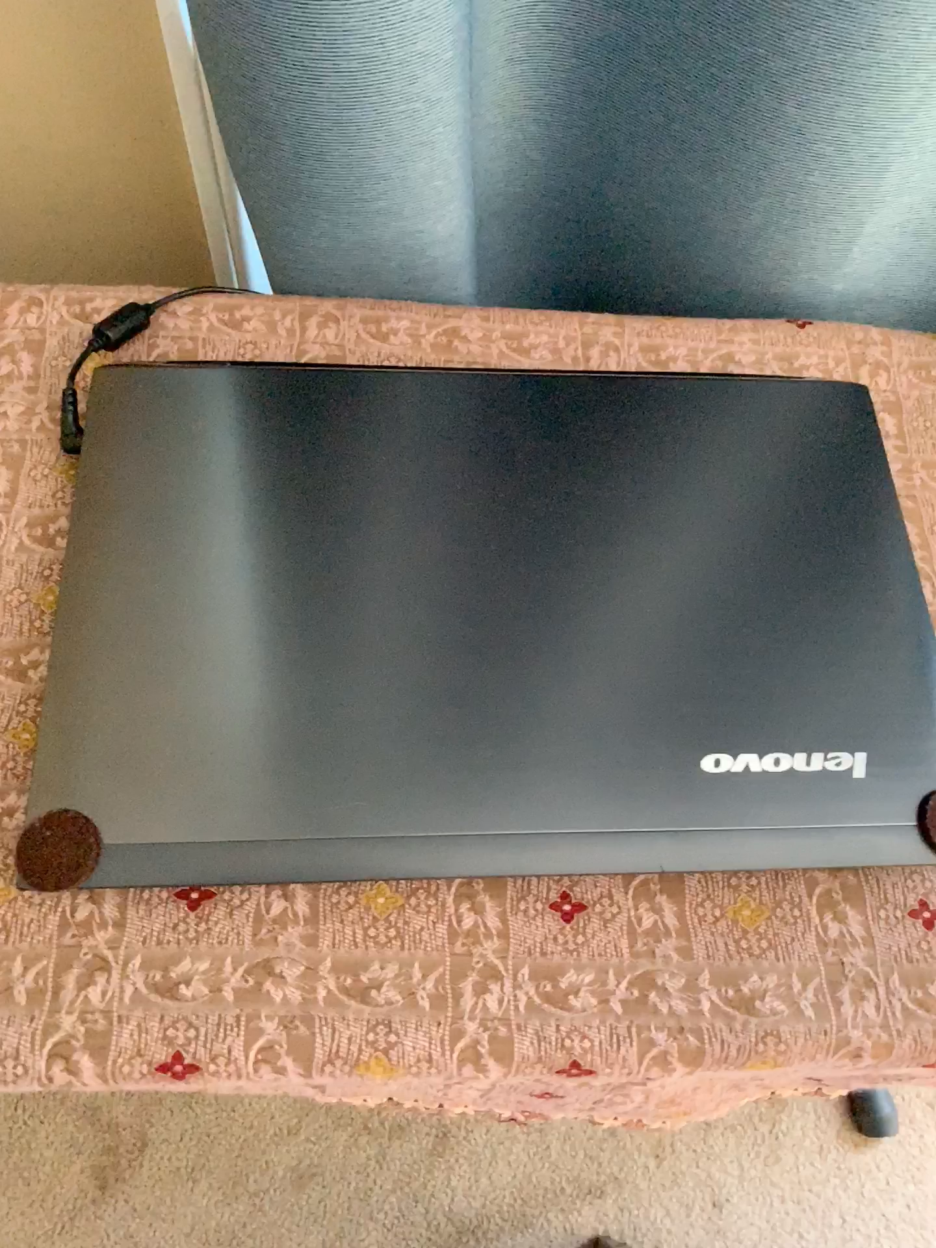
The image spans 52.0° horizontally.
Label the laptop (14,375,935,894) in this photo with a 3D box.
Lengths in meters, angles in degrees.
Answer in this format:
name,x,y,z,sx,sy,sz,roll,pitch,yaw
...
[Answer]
name,x,y,z,sx,sy,sz,roll,pitch,yaw
laptop,0.014,-0.009,0.402,0.356,0.011,0.223,0,67,-4
